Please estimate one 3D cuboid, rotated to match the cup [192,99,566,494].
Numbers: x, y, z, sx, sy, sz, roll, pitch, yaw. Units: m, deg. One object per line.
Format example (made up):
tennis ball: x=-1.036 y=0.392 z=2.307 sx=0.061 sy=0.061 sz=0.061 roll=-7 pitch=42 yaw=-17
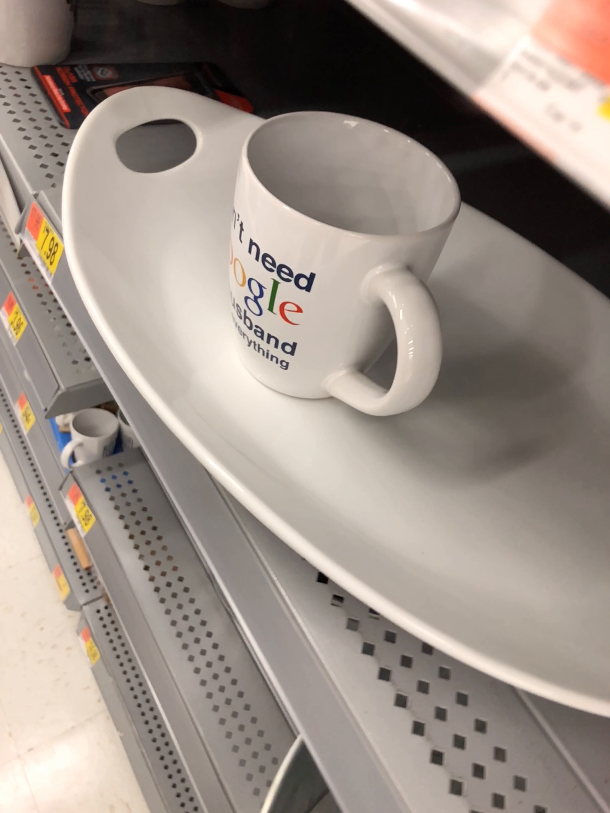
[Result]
cup: x=0.020 y=-0.061 z=0.340 sx=0.104 sy=0.108 sz=0.154 roll=-12 pitch=55 yaw=-22
